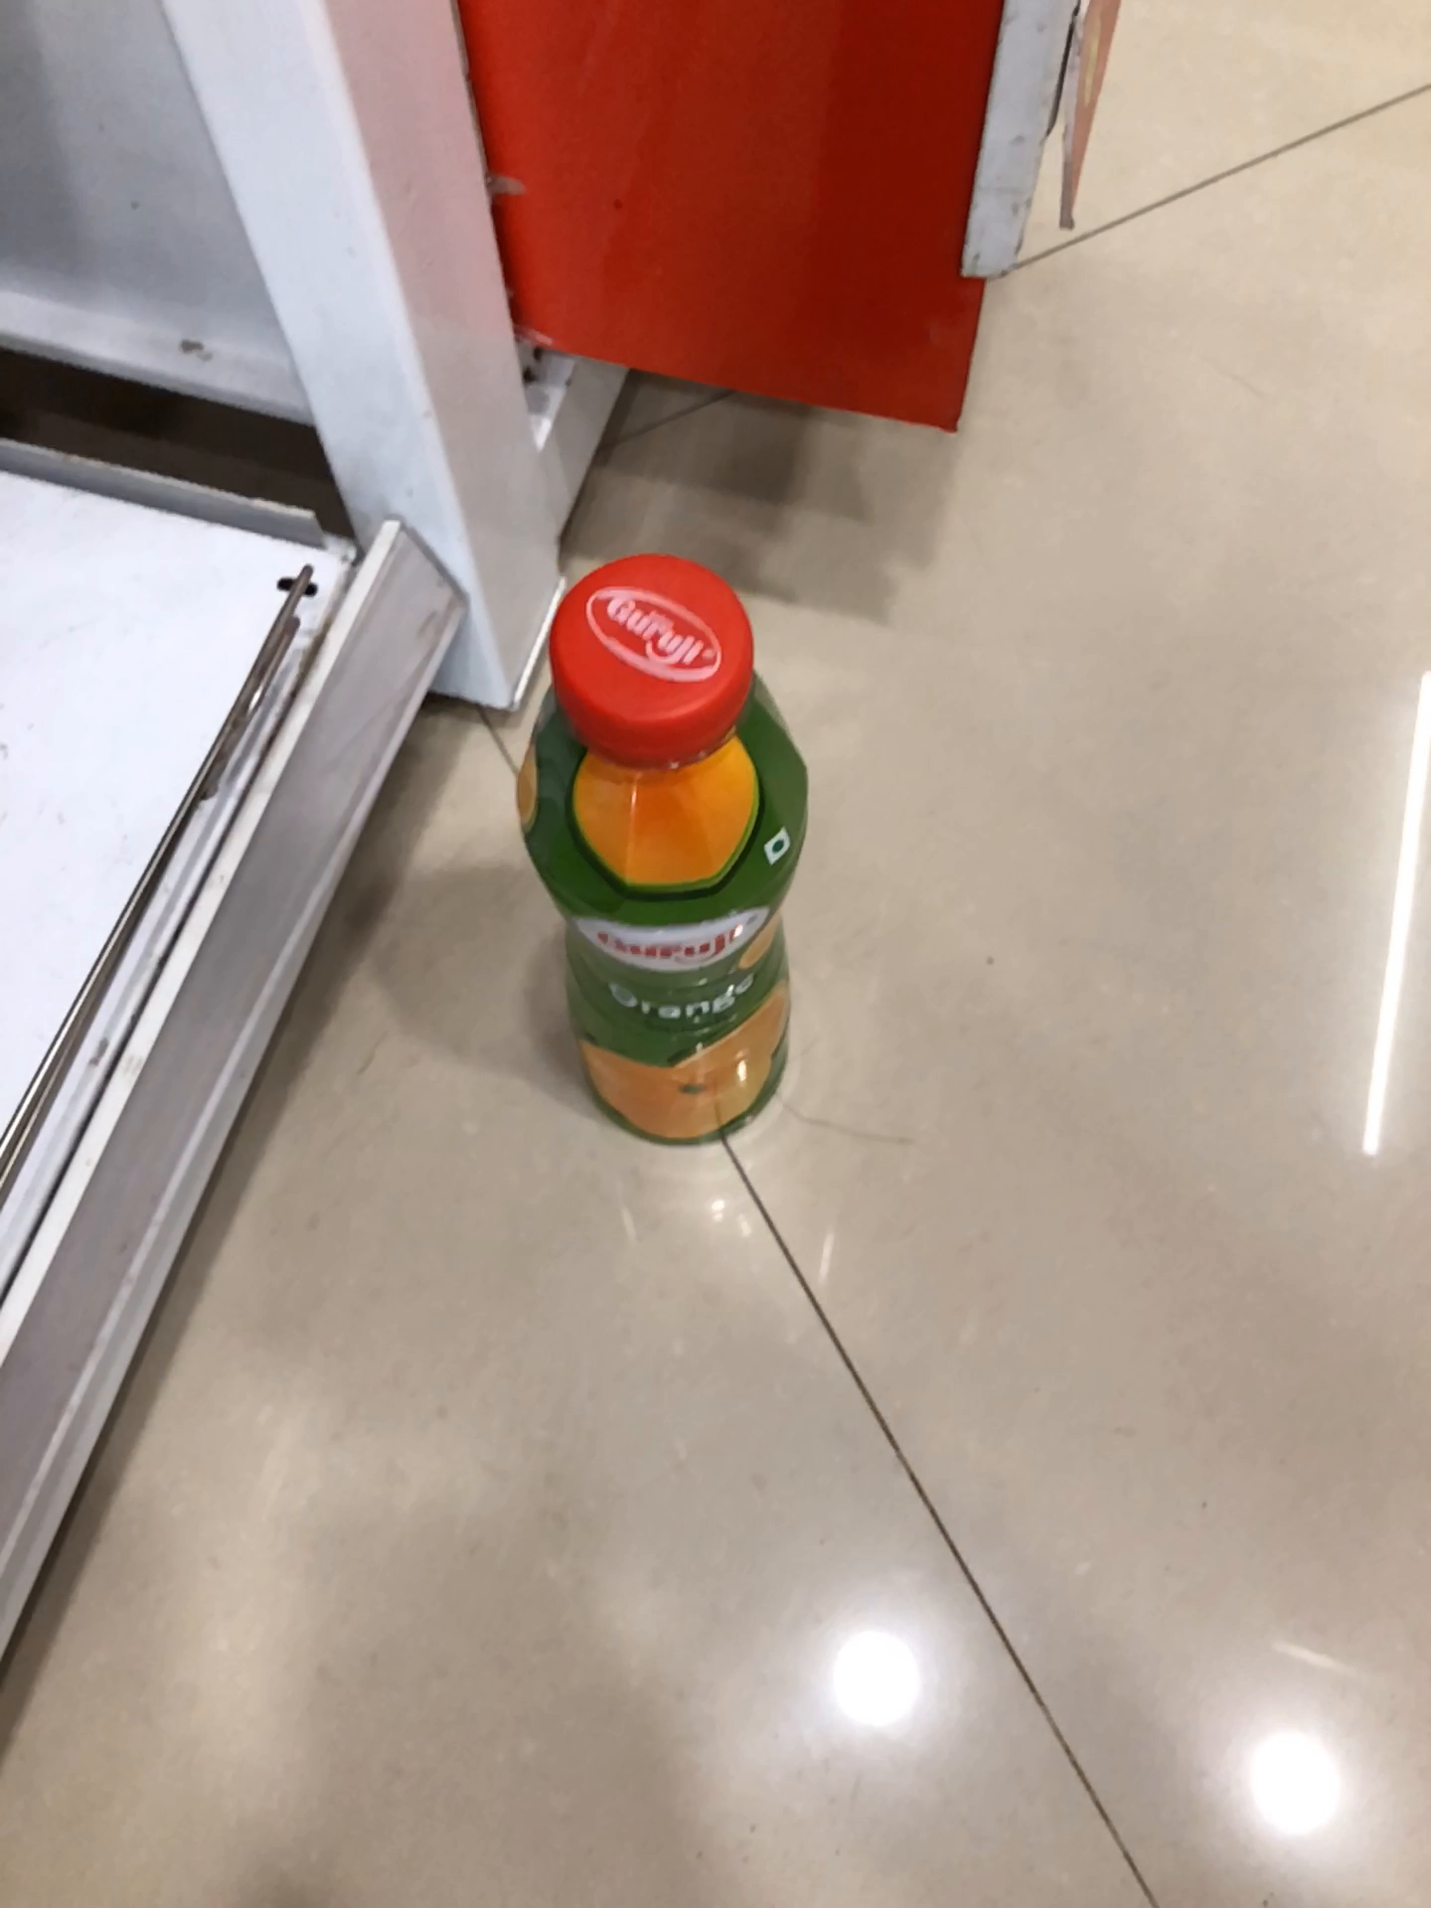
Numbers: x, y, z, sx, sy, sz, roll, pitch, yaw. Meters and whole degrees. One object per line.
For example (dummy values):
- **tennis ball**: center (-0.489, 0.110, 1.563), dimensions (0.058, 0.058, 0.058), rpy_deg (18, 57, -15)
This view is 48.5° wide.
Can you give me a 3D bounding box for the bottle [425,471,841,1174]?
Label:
- **bottle**: center (-0.014, -0.012, 0.405), dimensions (0.070, 0.239, 0.070), rpy_deg (-1, 68, 1)
